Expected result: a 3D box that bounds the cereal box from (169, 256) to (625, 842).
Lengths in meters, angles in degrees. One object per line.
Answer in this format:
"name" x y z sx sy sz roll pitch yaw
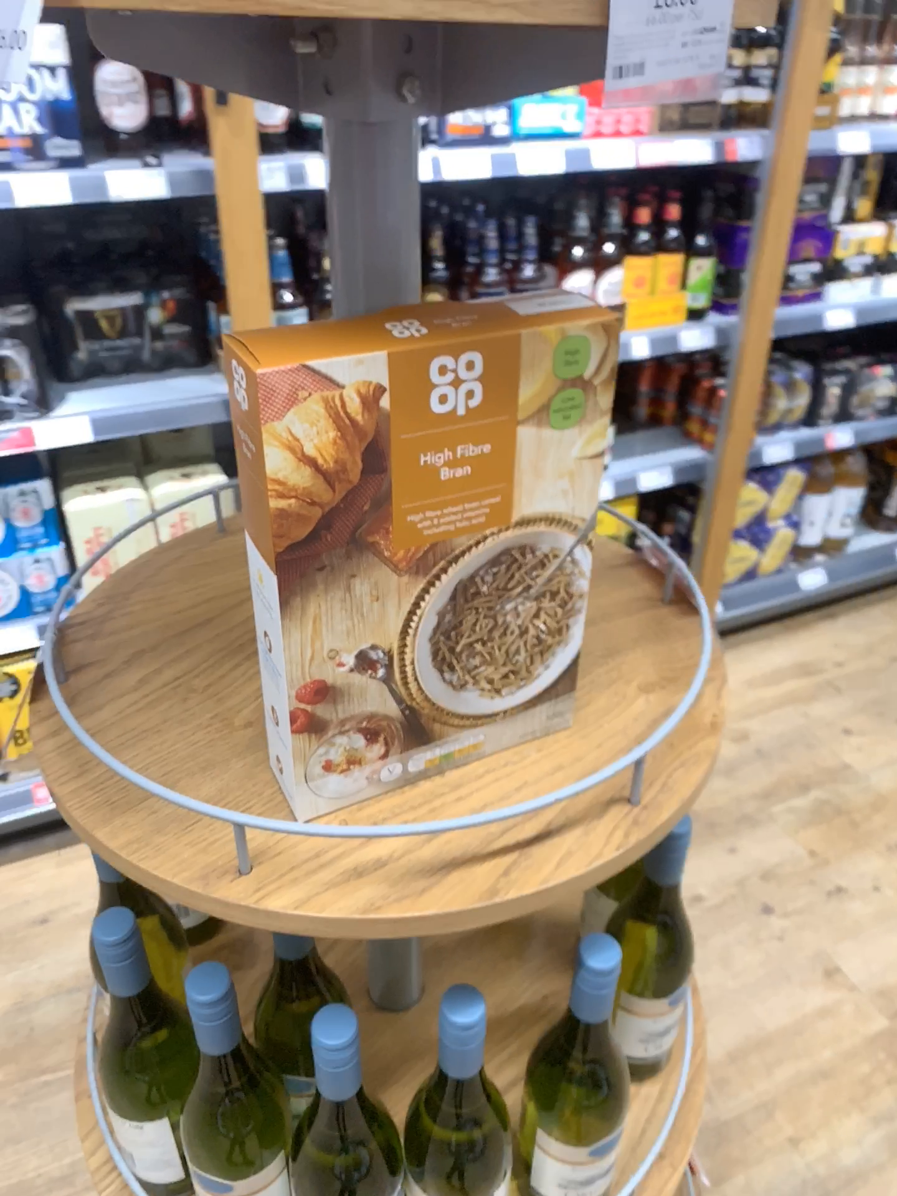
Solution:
"cereal box" -0.022 -0.022 0.496 0.200 0.277 0.060 -15 36 -24
